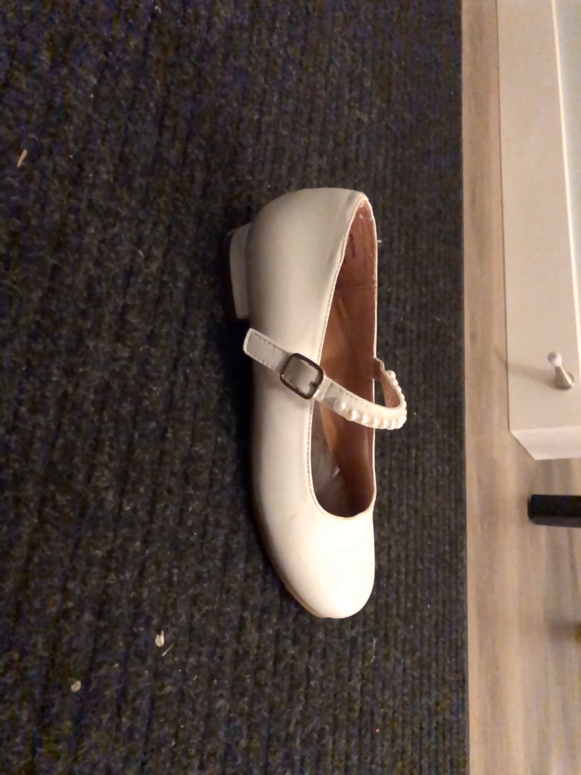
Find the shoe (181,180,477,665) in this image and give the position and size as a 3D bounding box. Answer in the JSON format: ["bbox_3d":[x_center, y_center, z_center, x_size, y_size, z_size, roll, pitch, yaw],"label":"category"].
[{"bbox_3d":[0.024,0.016,0.313,0.080,0.080,0.200,-20,100,-60],"label":"shoe"}]
